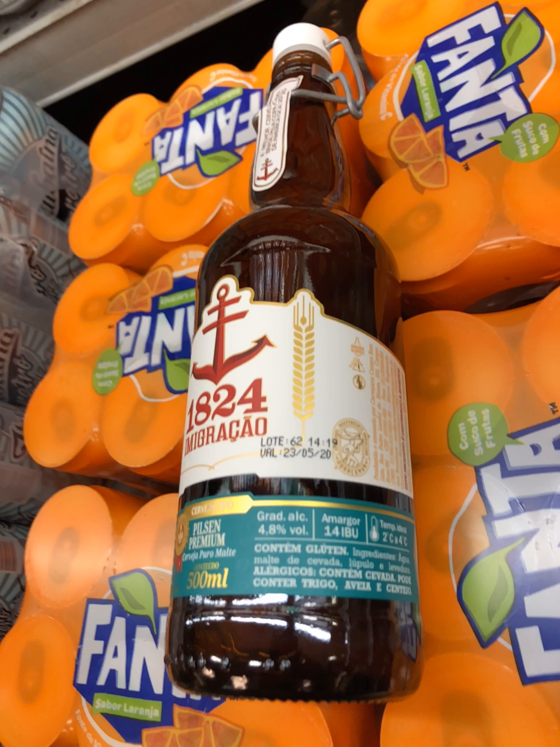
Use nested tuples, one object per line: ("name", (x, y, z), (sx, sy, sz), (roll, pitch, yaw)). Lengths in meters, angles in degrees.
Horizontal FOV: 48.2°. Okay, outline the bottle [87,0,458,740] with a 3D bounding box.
("bottle", (-0.002, -0.031, 0.205), (0.080, 0.050, 0.250), (-12, 66, 27))
